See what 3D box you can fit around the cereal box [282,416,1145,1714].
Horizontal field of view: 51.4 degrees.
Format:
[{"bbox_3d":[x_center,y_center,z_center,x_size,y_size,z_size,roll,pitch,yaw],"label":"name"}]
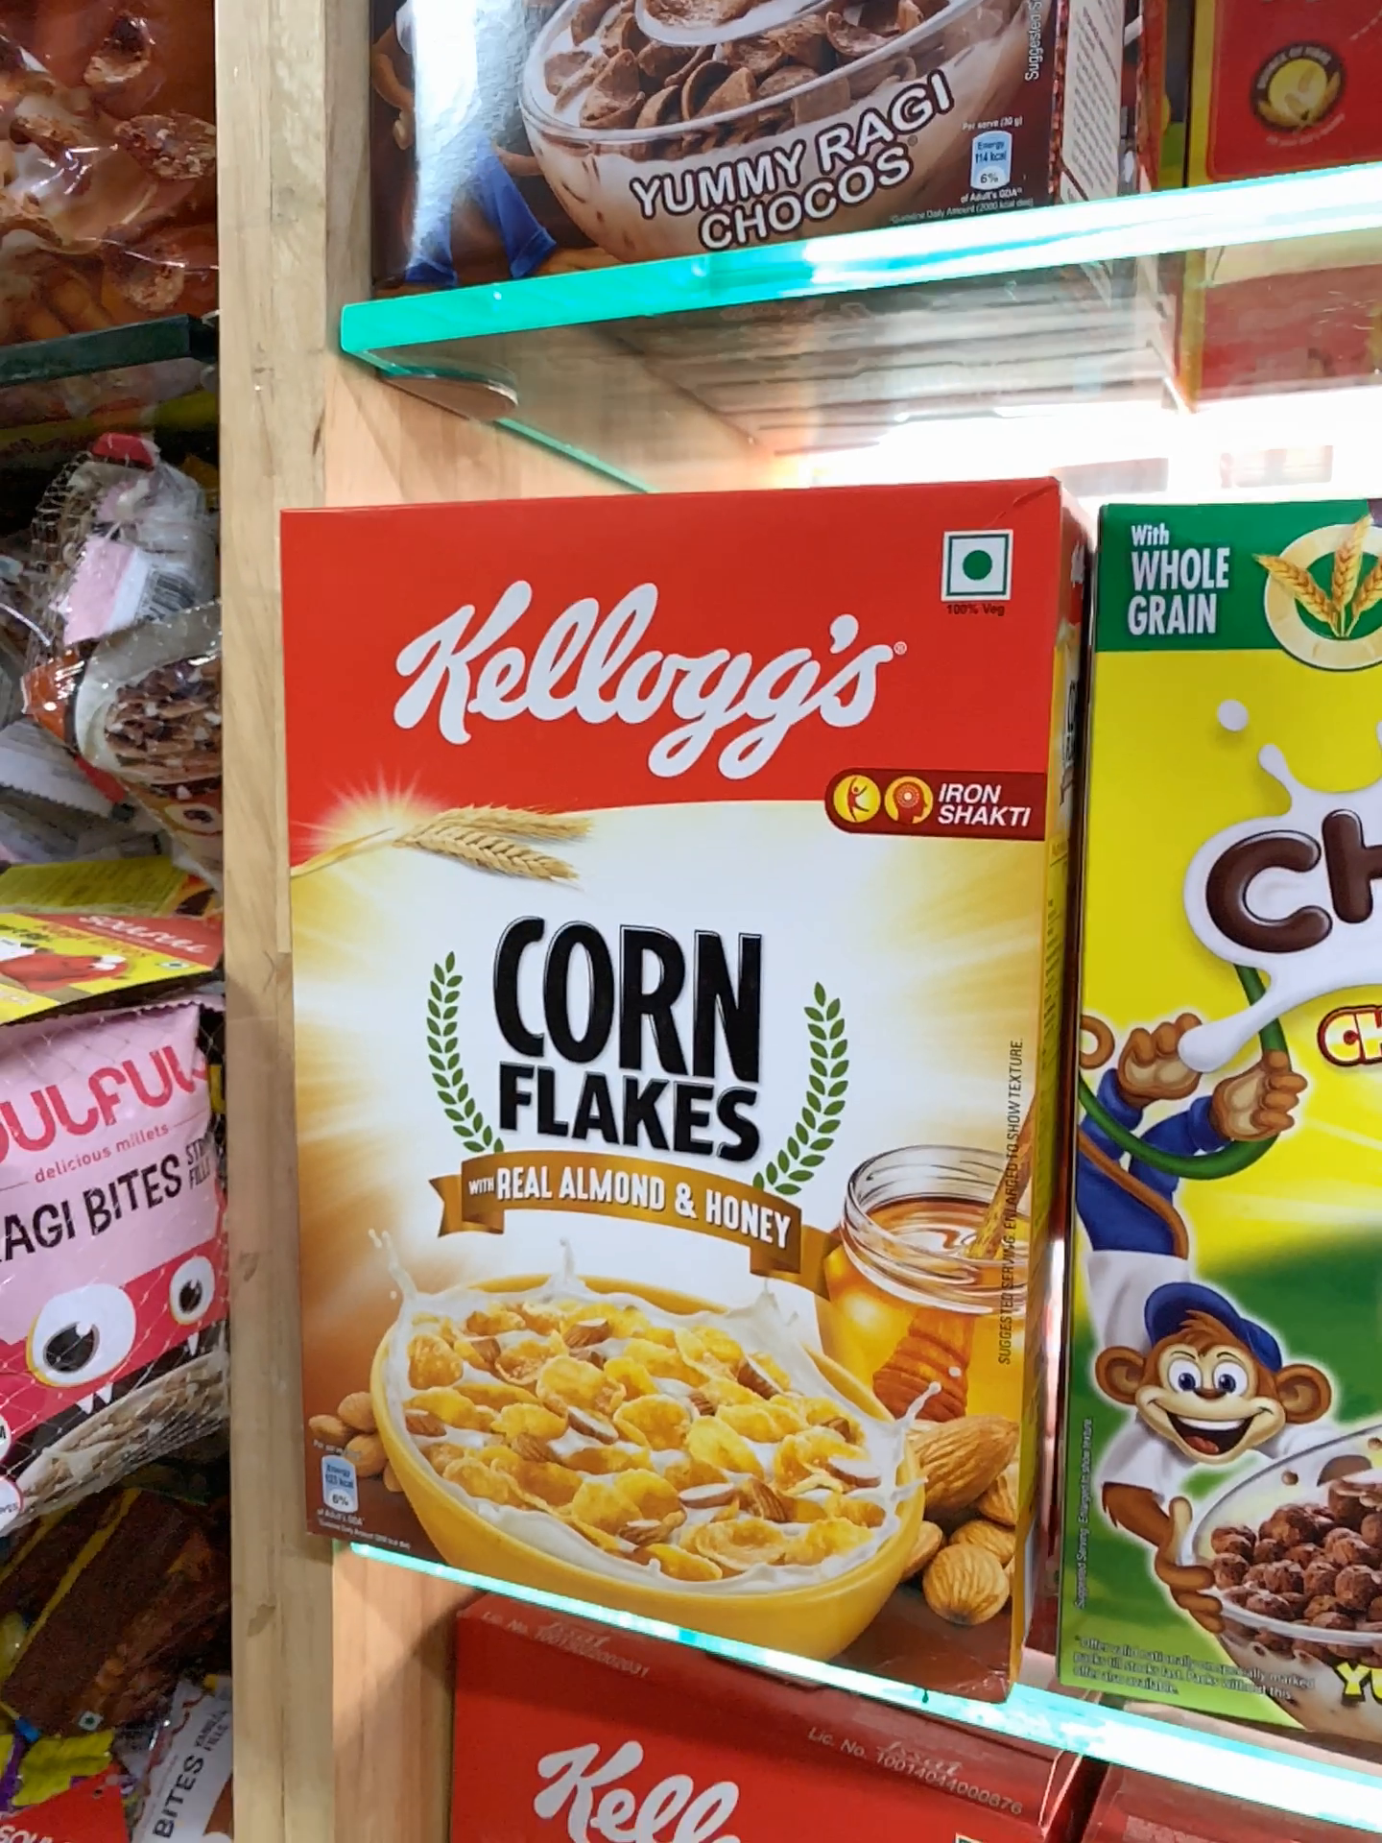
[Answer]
[{"bbox_3d":[0.004,0.022,0.322,0.170,0.239,0.070,4,9,22],"label":"cereal box"}]
